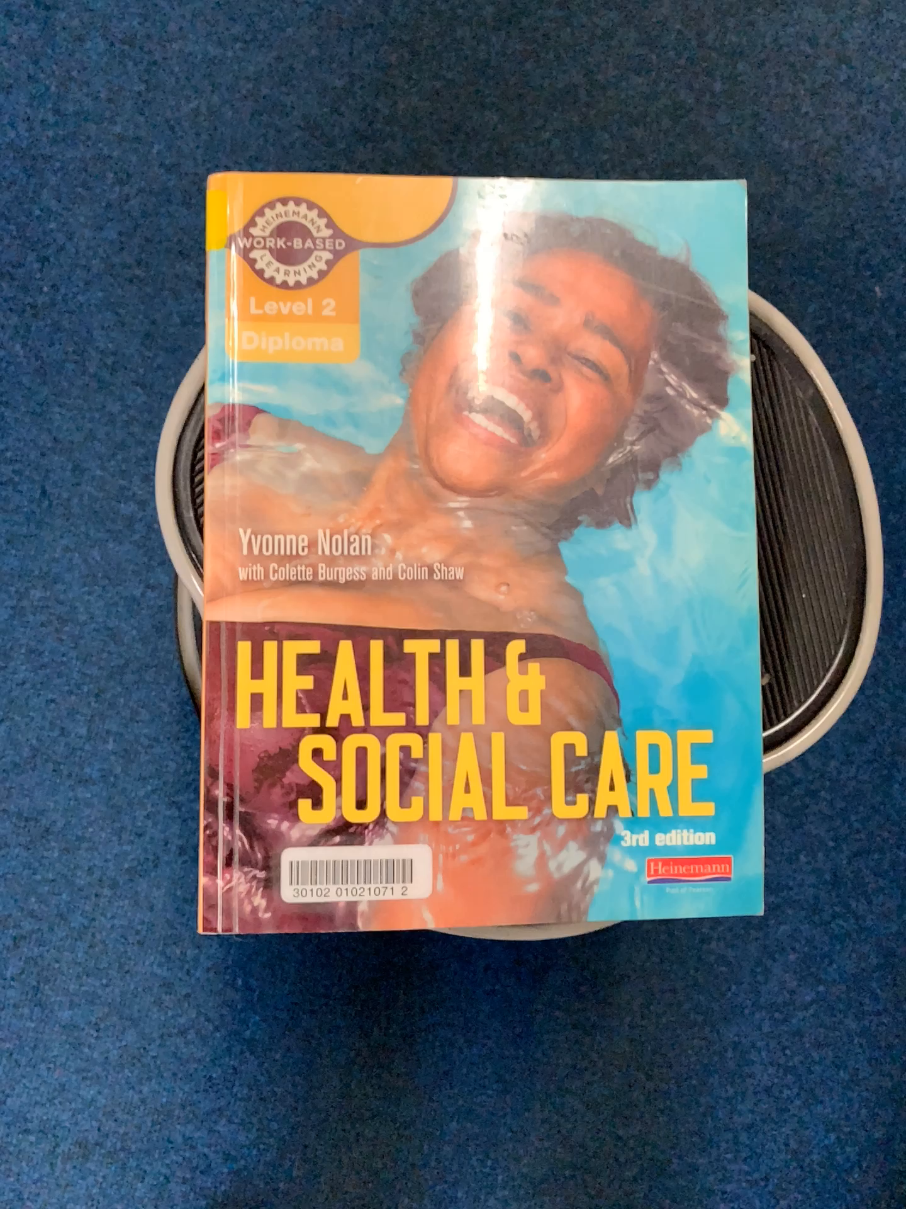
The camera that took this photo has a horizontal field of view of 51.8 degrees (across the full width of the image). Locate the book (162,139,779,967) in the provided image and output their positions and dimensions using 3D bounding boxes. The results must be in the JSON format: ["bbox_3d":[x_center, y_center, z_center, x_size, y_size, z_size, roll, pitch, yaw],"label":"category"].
[{"bbox_3d":[0.005,-0.021,0.325,0.200,0.030,0.270,-1,86,-4],"label":"book"}]
